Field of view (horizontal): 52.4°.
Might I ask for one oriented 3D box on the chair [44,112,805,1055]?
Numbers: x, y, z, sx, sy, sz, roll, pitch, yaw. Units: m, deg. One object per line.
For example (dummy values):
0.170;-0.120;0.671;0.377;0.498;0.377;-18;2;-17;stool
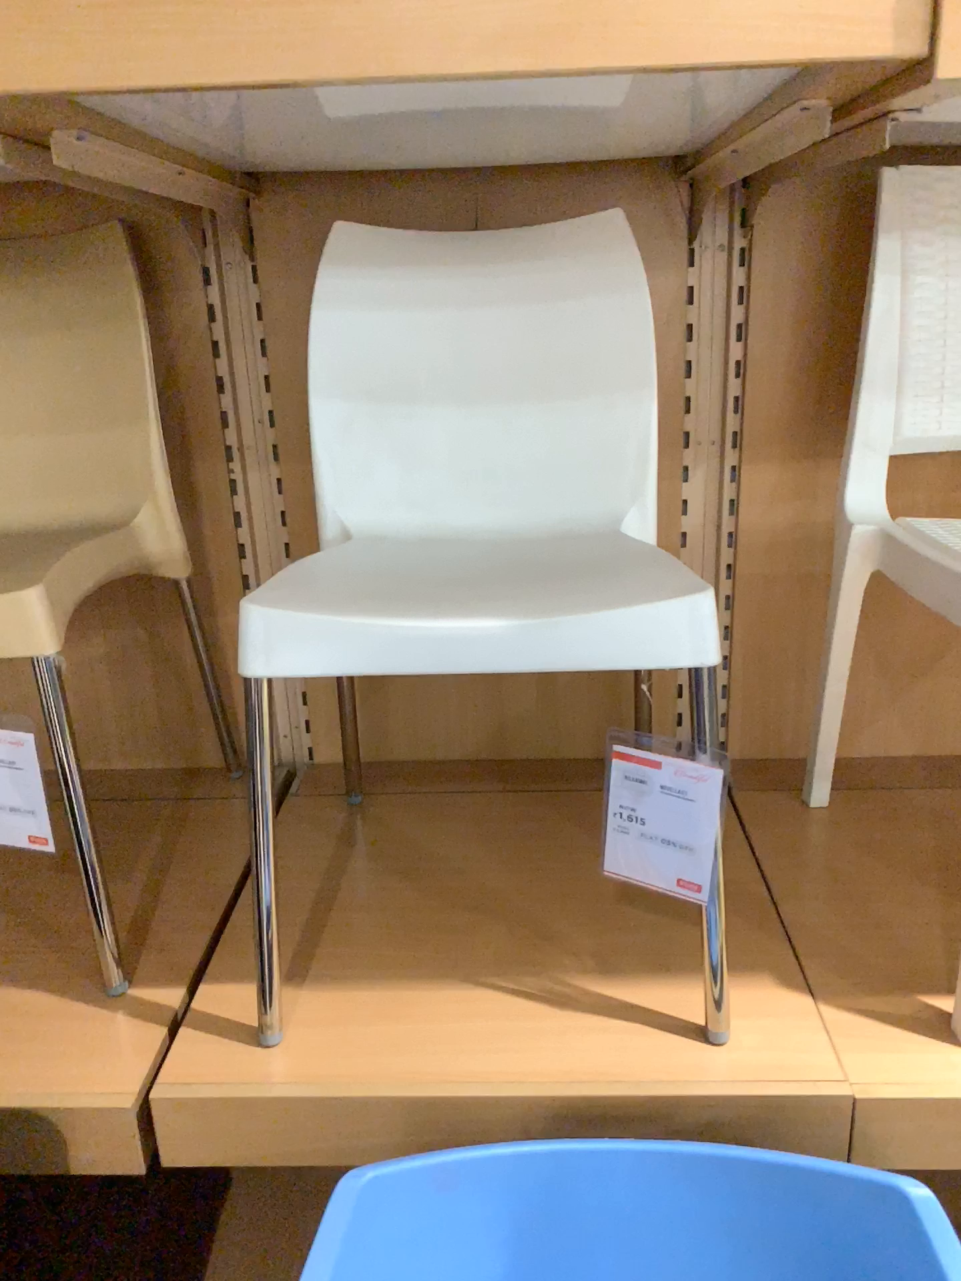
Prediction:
-0.024;-0.092;1.253;0.610;0.917;0.682;-2;19;2;chair
